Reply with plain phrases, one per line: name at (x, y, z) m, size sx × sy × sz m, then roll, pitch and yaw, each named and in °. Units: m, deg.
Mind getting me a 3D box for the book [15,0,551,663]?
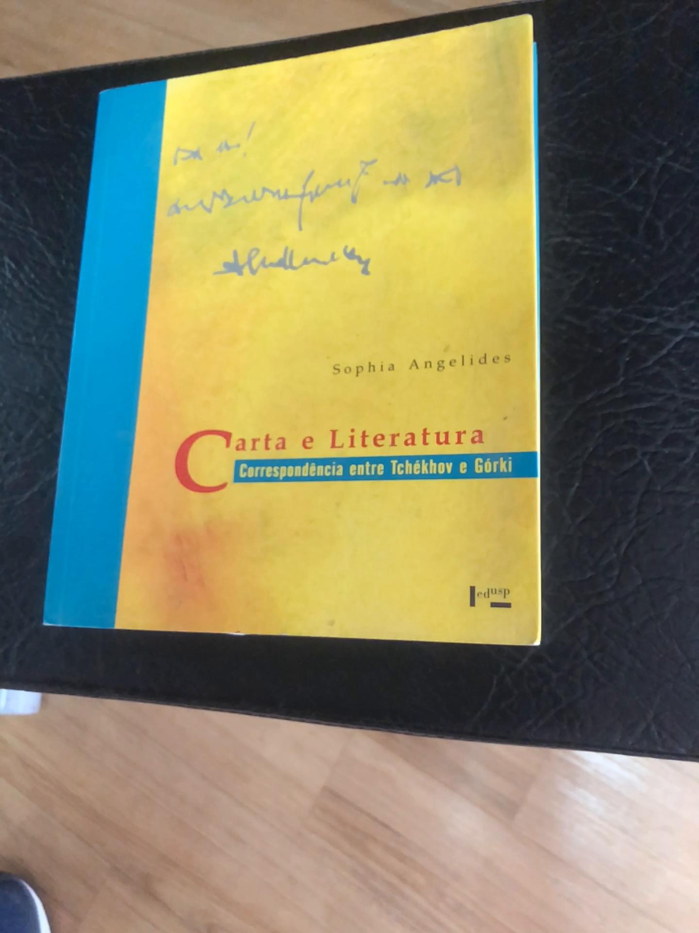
book at (-0.022, -0.046, 0.267) m, size 0.173 × 0.024 × 0.208 m, roll -1°, pitch 79°, yaw 17°
